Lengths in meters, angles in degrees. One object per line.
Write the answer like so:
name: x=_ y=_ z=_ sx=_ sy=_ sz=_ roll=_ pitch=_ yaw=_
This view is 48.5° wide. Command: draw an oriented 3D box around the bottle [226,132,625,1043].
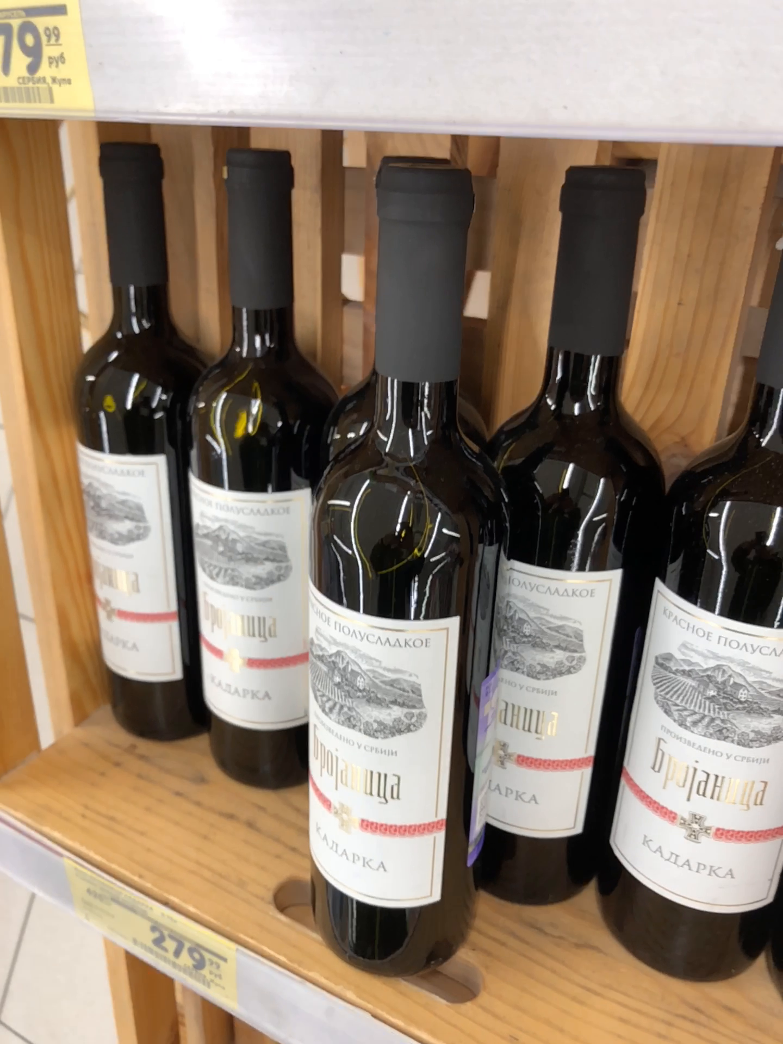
bottle: x=0.005 y=0.035 z=0.304 sx=0.080 sy=0.080 sz=0.309 roll=17 pitch=119 yaw=27
